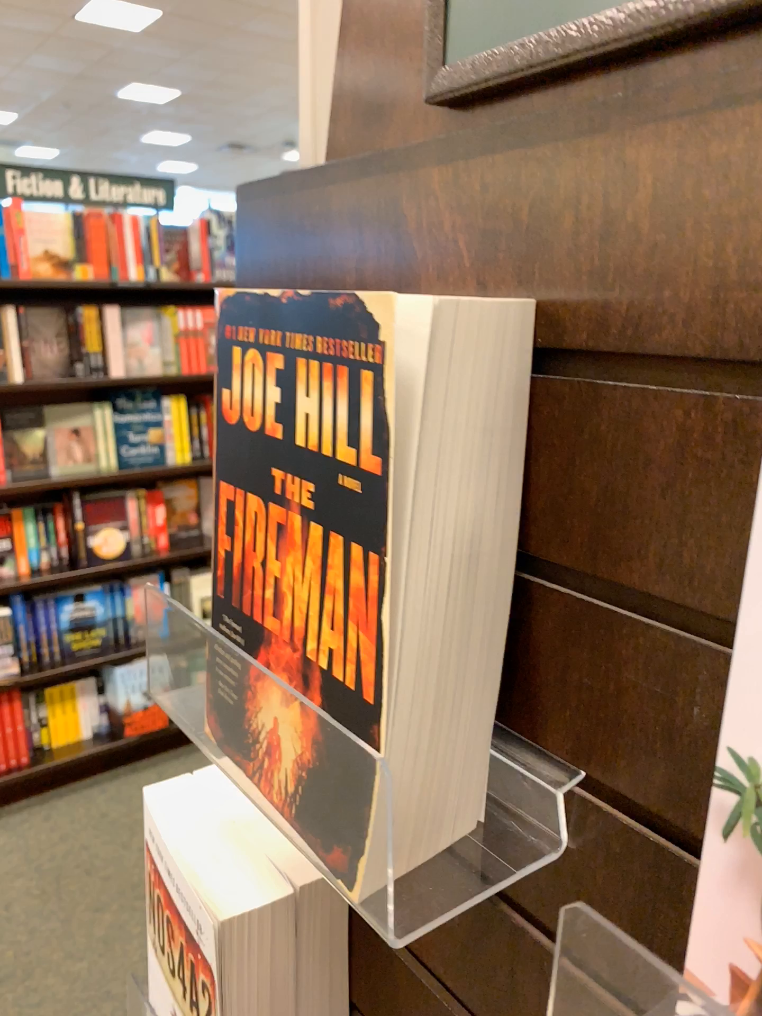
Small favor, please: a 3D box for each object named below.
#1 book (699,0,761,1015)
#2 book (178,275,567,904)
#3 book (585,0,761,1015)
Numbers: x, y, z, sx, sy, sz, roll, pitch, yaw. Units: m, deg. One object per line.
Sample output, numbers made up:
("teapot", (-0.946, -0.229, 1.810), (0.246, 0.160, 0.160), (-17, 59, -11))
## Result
("book", (0.150, 0.053, 0.124), (0.026, 0.208, 0.188), (-2, 14, -27))
("book", (-0.017, 0.014, 0.311), (0.069, 0.194, 0.147), (-5, 14, -36))
("book", (0.115, 0.055, 0.115), (0.026, 0.208, 0.188), (-2, 14, -27))
